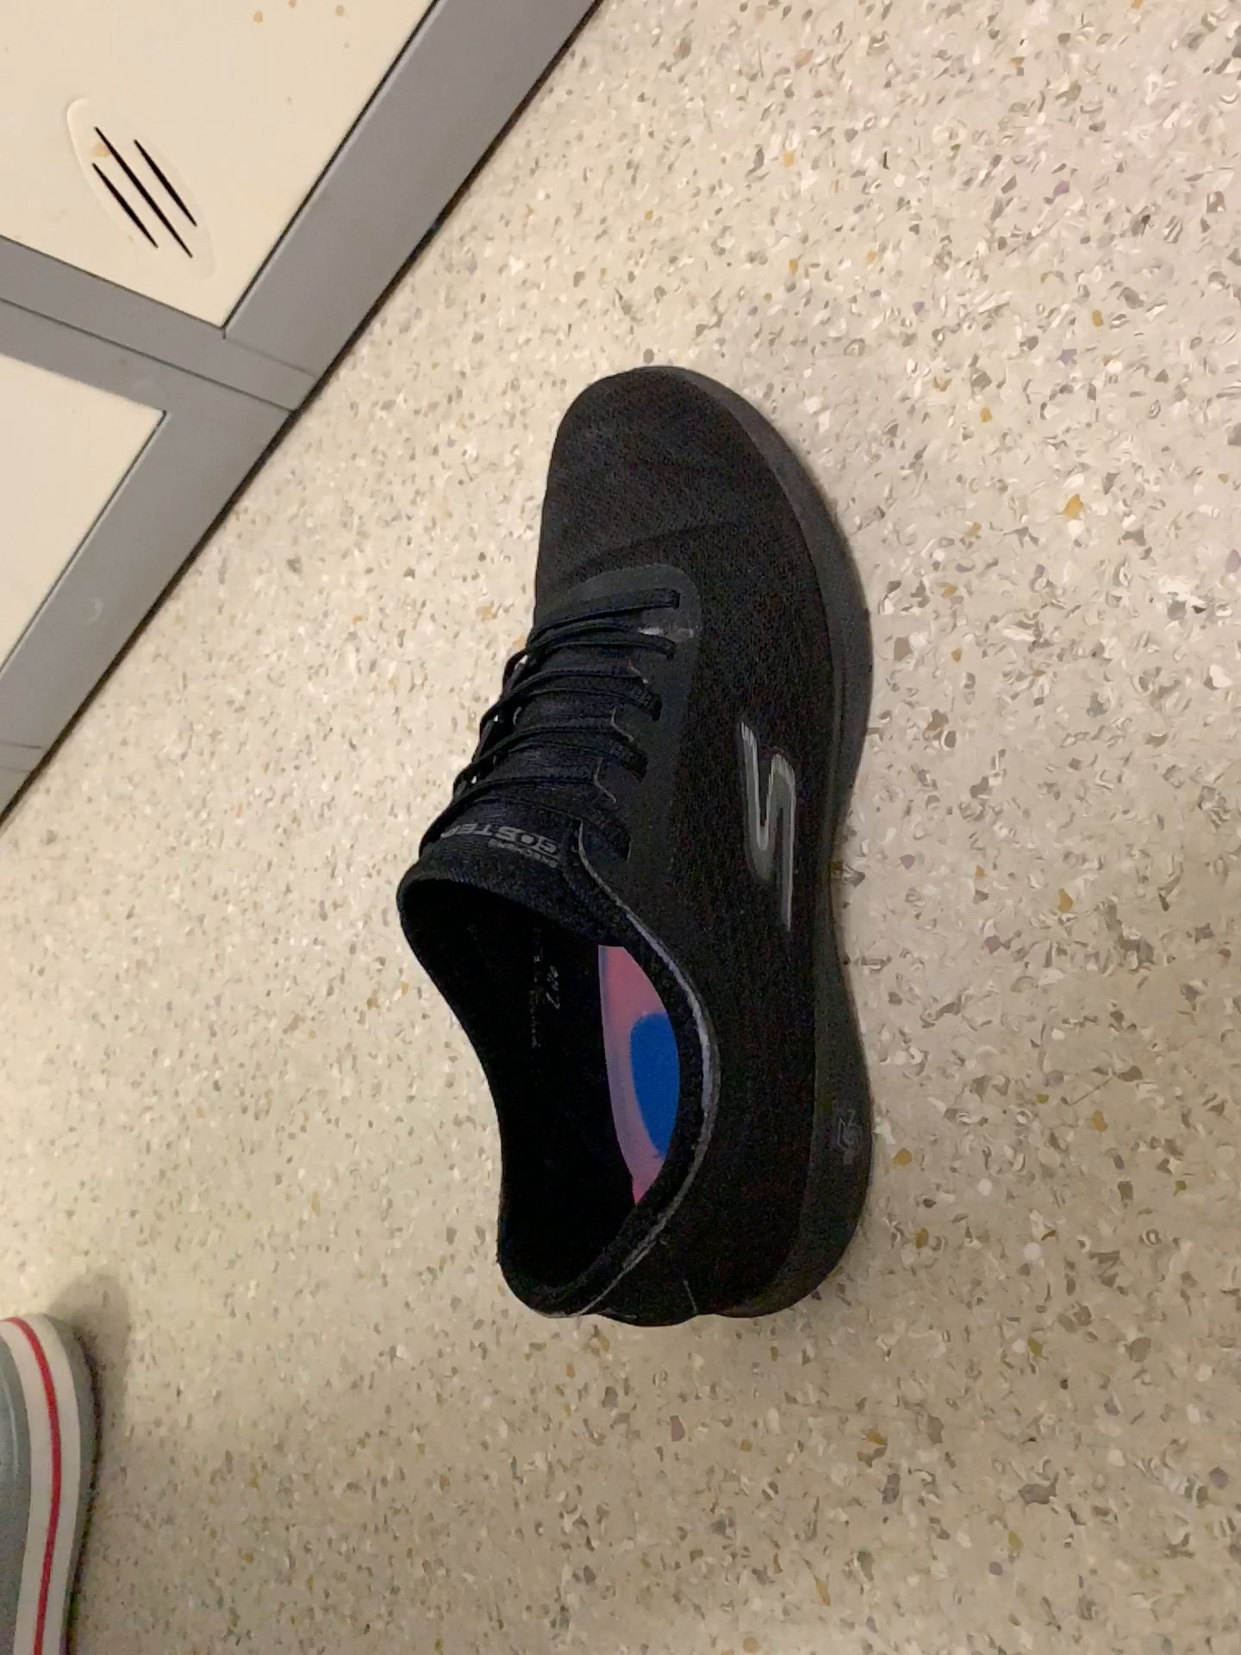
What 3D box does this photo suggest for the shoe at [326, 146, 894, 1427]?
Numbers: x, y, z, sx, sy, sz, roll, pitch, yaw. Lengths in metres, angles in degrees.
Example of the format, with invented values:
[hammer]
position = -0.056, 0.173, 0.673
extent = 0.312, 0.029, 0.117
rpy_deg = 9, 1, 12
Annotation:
[shoe]
position = -0.003, -0.009, 0.346
extent = 0.105, 0.099, 0.280
rpy_deg = -8, 78, 43
